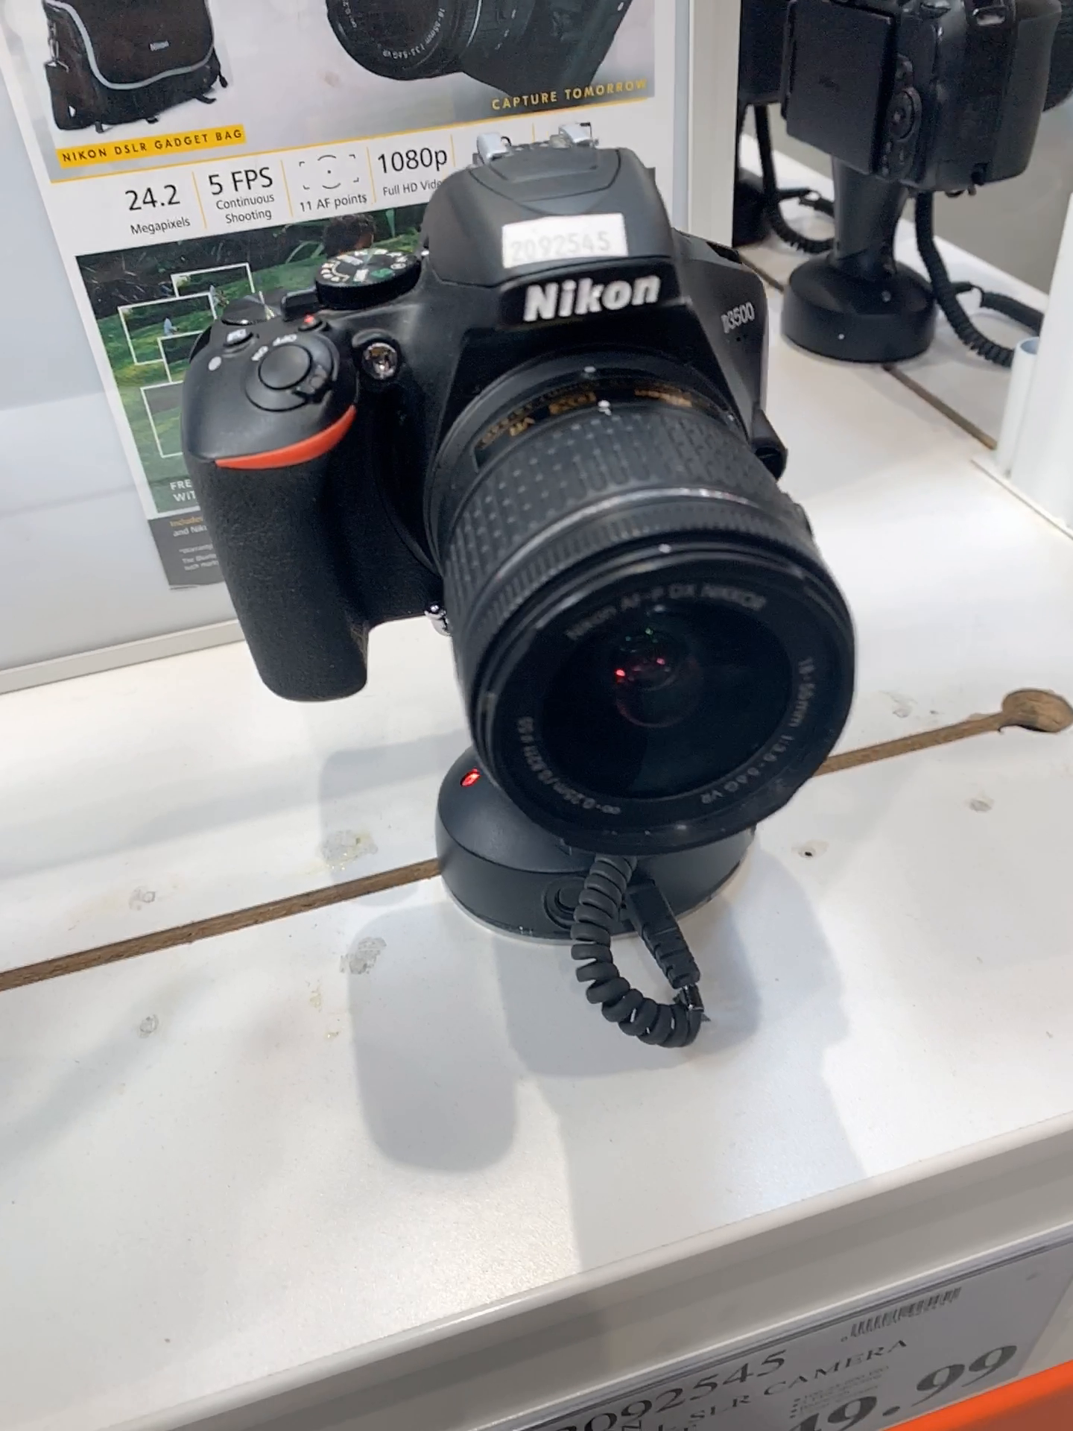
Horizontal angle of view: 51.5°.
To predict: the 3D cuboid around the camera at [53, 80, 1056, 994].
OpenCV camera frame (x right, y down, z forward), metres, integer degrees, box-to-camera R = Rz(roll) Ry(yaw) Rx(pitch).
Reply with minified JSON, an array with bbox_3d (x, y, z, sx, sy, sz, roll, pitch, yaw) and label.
[{"bbox_3d":[-0.003,-0.041,0.203,0.116,0.099,0.121,-12,40,-6],"label":"camera"}]
